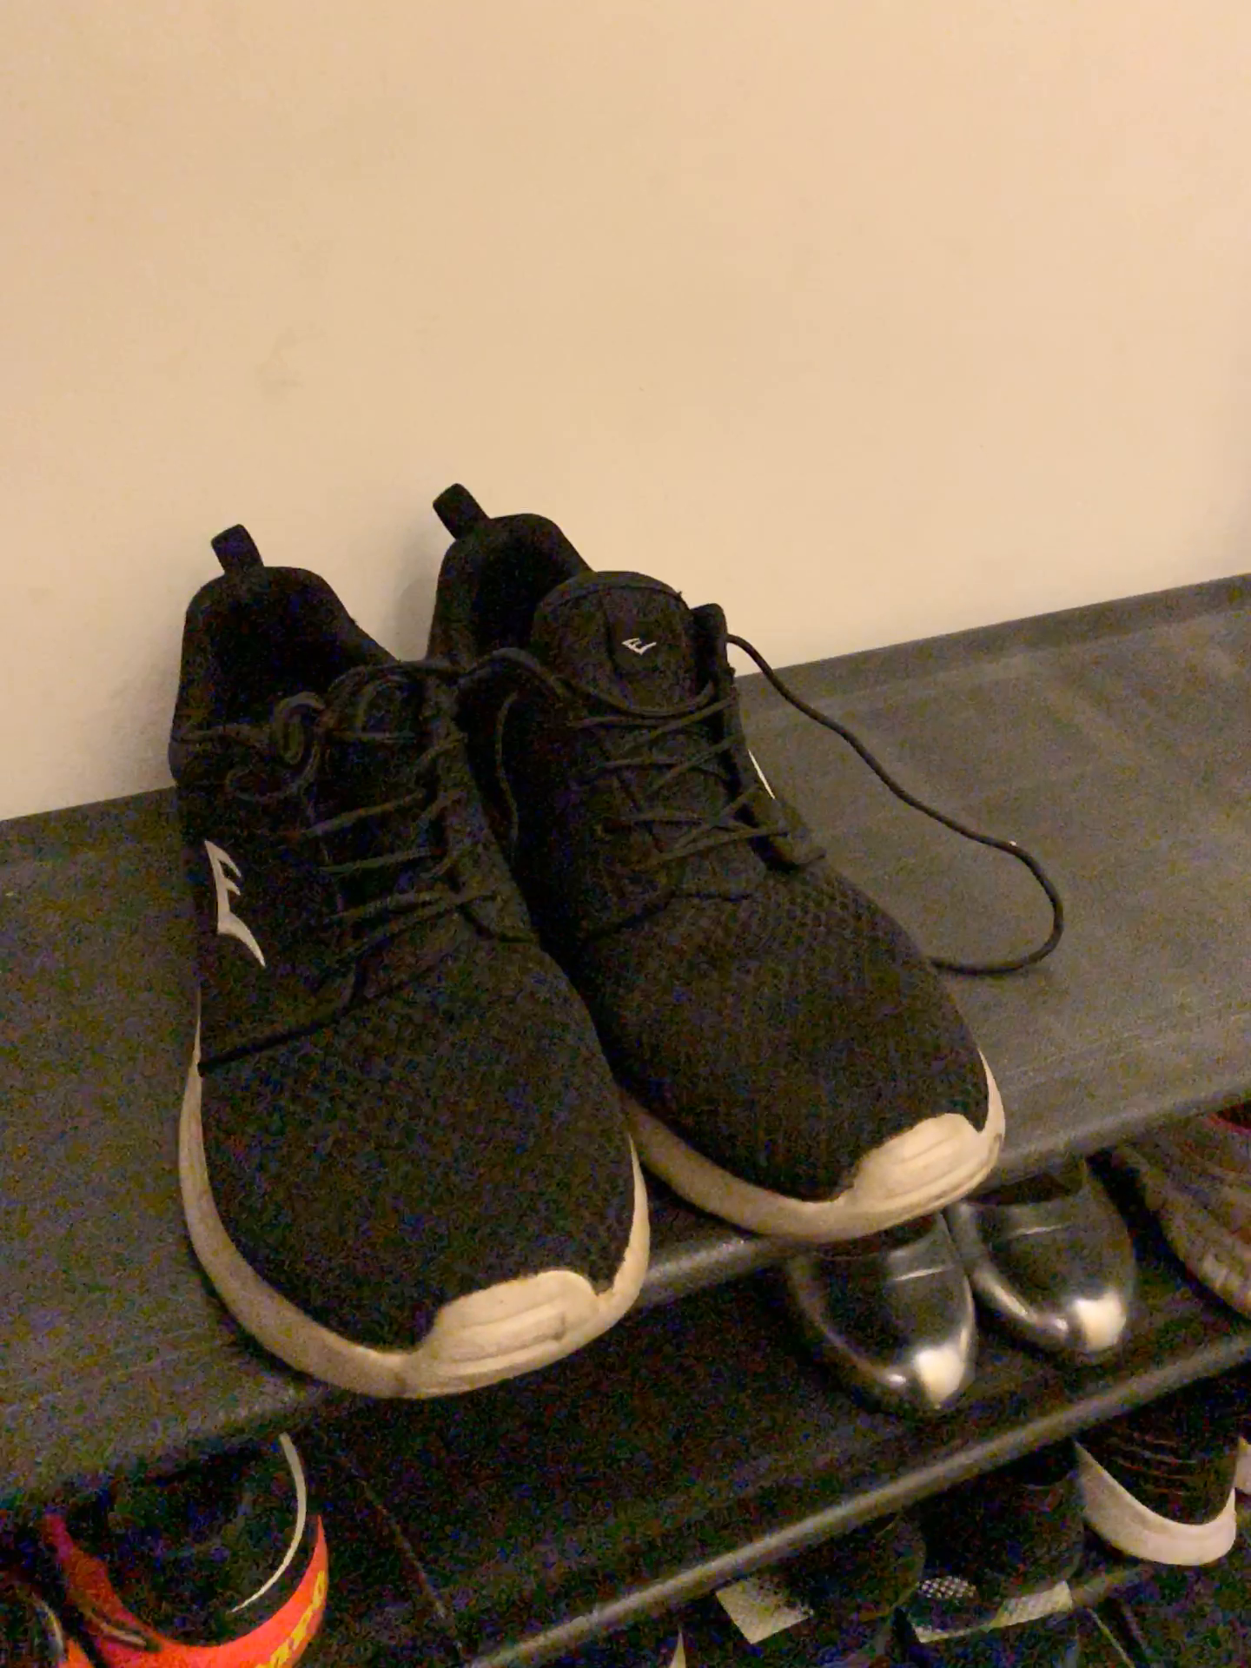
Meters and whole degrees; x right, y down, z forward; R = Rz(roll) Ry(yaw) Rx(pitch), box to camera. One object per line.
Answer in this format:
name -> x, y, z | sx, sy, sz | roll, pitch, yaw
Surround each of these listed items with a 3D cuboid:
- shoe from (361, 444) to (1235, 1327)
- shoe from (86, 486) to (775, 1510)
shoe -> 0.018, -0.021, 0.401 | 0.120, 0.099, 0.302 | -13, 37, -19
shoe -> -0.078, 0.005, 0.366 | 0.110, 0.099, 0.302 | -12, 36, -17
